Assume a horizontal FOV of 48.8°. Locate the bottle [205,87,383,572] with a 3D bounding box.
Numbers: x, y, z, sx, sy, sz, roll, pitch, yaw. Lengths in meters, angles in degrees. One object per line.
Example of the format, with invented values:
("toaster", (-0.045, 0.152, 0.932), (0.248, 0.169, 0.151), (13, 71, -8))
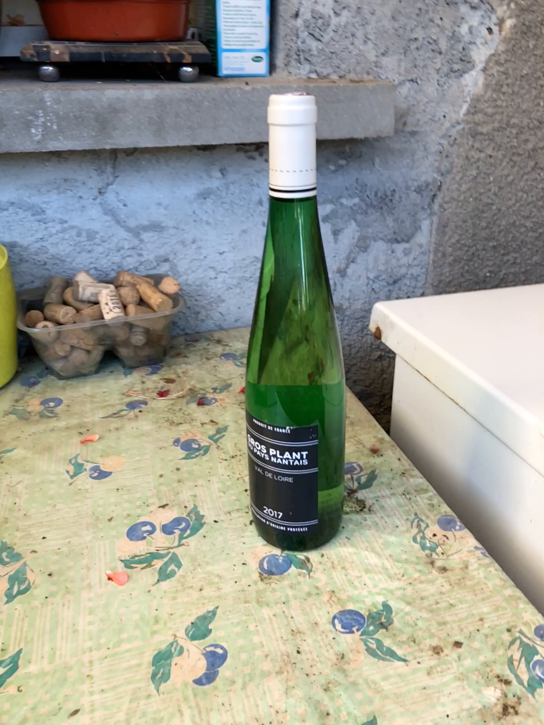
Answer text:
("bottle", (0.017, -0.015, 0.439), (0.080, 0.338, 0.081), (-1, 25, 0))
